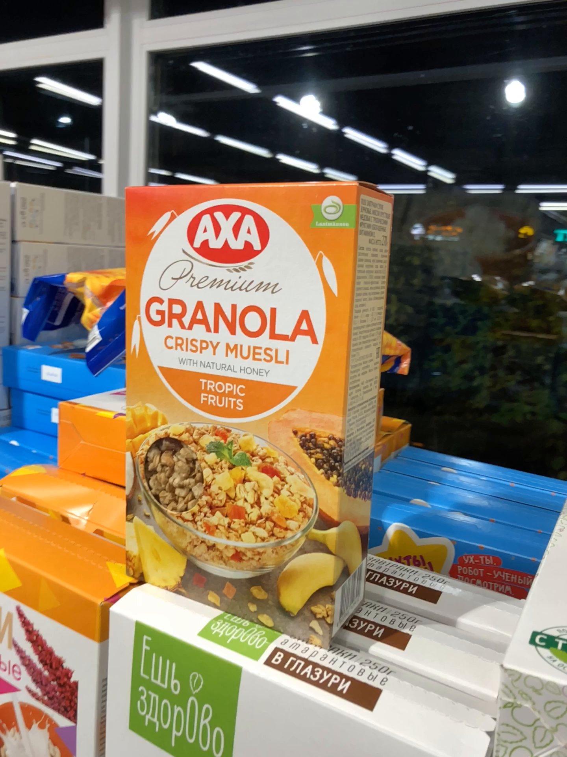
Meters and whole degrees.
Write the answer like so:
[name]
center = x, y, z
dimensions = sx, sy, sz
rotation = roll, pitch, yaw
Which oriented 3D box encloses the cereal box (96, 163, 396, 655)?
[cereal box]
center = -0.027, 0.007, 0.326
dimensions = 0.140, 0.219, 0.050
rotation = 9, 12, 27
